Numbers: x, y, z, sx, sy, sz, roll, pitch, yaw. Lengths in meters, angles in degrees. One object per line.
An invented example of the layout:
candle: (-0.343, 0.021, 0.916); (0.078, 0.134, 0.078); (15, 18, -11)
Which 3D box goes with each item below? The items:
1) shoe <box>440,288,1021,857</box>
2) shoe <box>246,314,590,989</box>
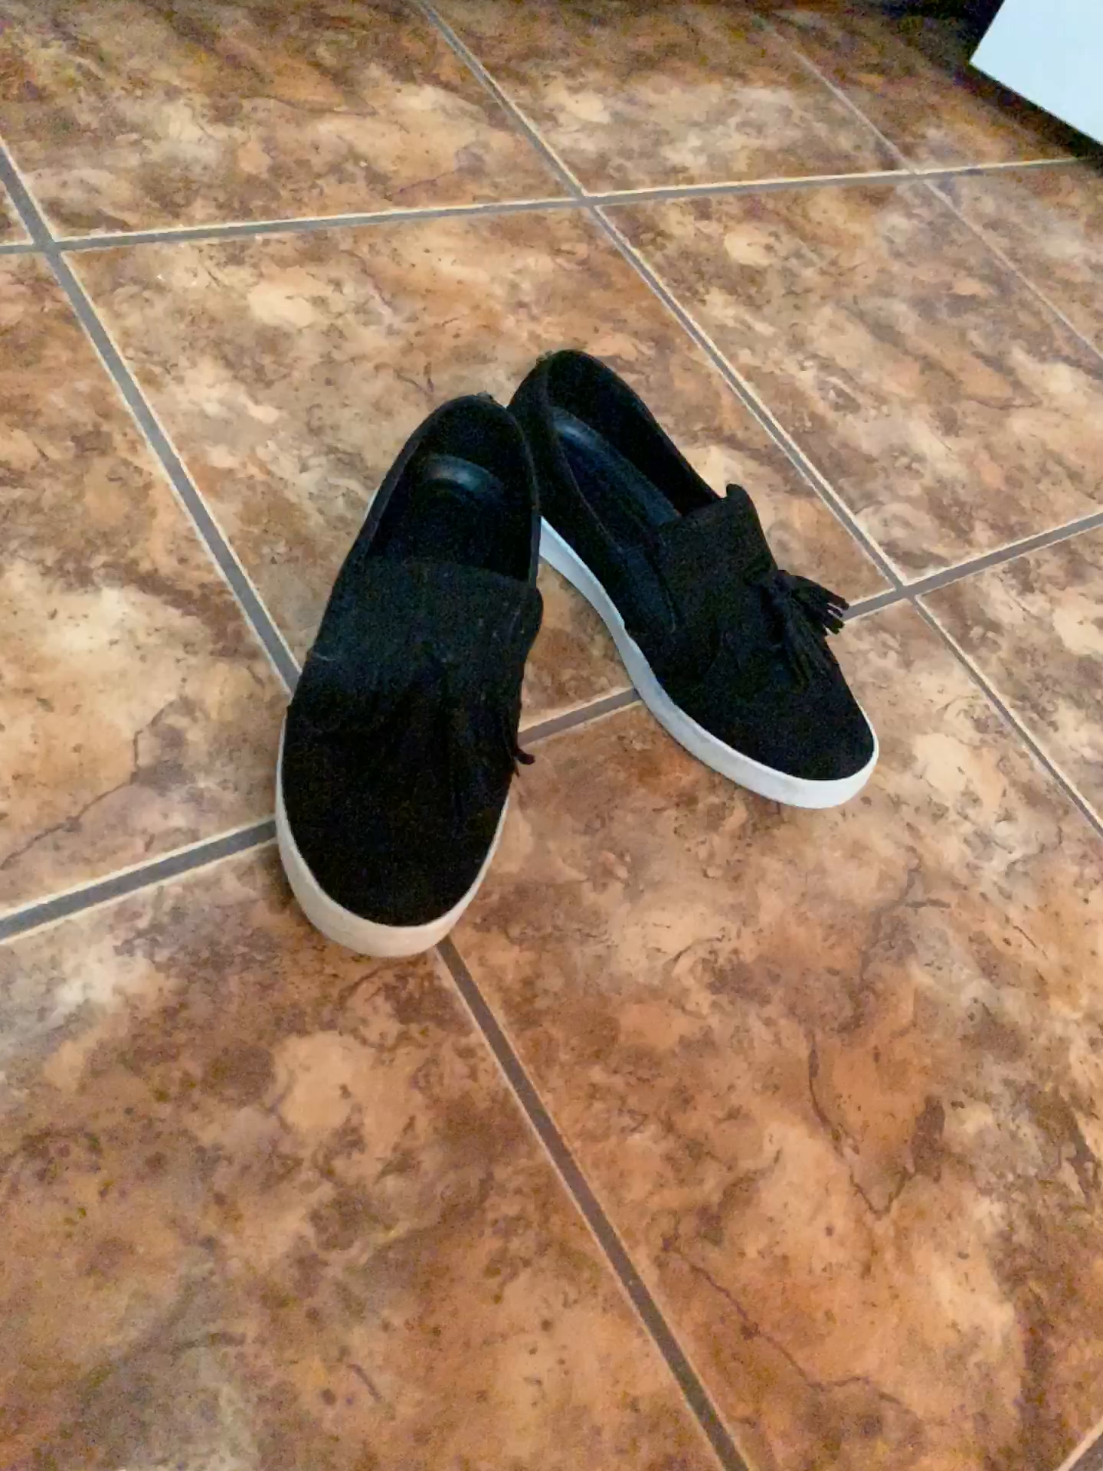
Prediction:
shoe: (0.073, -0.082, 0.524); (0.098, 0.094, 0.249); (-32, 72, -35)
shoe: (-0.050, -0.040, 0.447); (0.097, 0.094, 0.250); (10, 54, -15)
